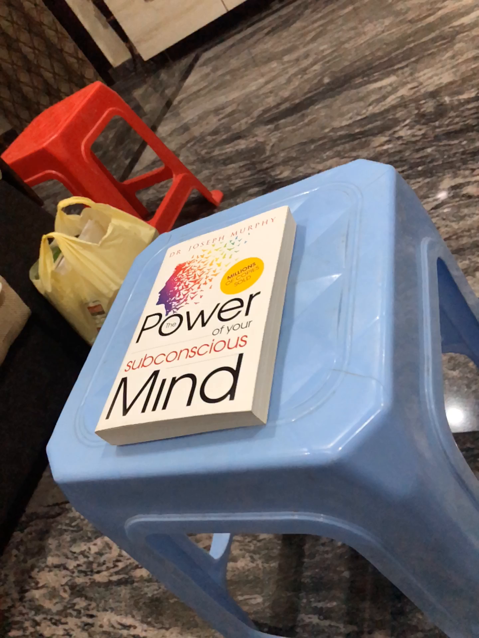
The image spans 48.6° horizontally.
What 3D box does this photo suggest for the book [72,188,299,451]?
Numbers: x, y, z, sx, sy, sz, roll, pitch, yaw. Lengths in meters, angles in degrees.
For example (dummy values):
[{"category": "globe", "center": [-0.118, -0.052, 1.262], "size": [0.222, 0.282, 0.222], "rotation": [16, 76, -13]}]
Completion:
[{"category": "book", "center": [-0.034, -0.005, 0.406], "size": [0.141, 0.030, 0.200], "rotation": [-15, 44, 30]}]
